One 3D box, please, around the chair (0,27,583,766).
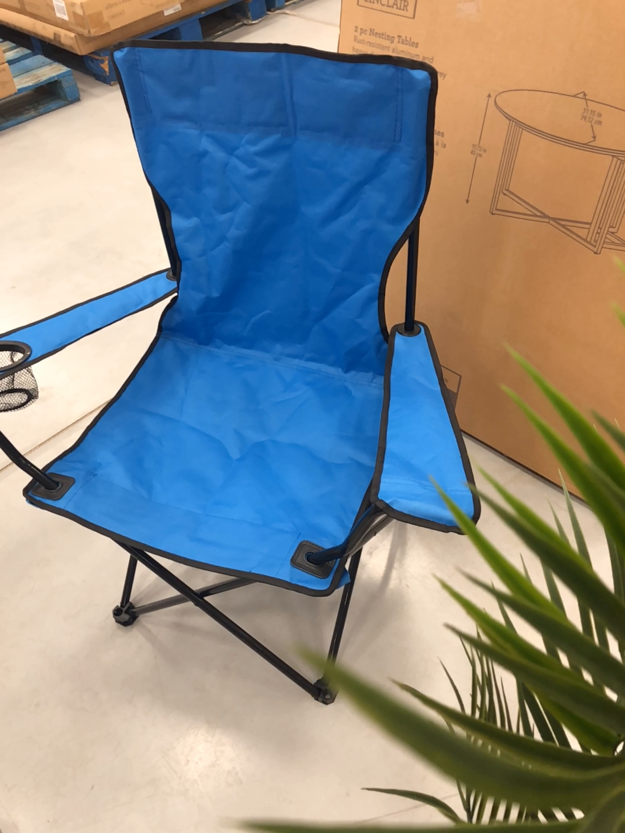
[{"bbox_3d":[-0.109,-0.034,1.095,0.791,0.837,0.622,13,50,17],"label":"chair"}]
